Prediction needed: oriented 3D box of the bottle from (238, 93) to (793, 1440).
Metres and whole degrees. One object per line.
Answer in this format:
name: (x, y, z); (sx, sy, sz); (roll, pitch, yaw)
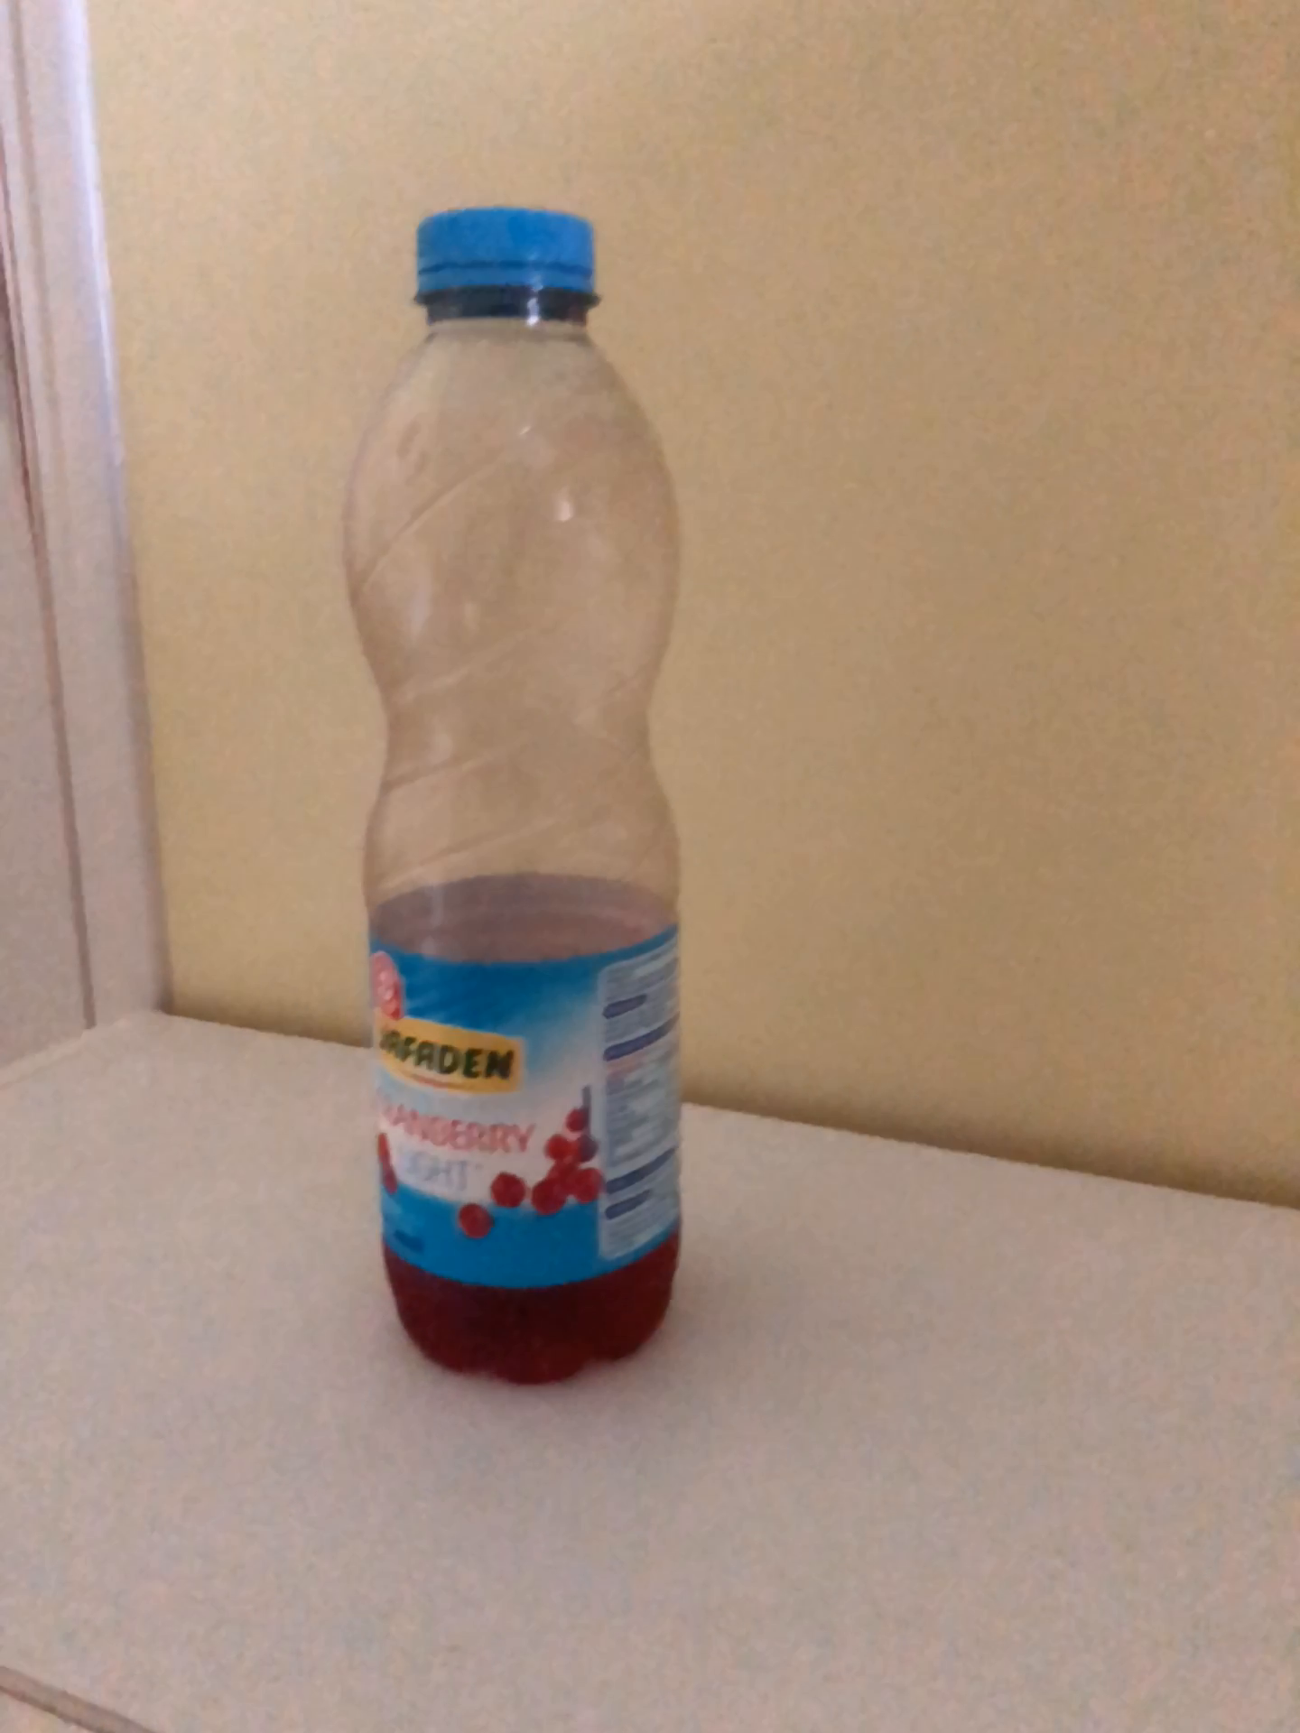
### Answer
bottle: (-0.025, -0.019, 0.337); (0.090, 0.269, 0.080); (6, 14, 27)
